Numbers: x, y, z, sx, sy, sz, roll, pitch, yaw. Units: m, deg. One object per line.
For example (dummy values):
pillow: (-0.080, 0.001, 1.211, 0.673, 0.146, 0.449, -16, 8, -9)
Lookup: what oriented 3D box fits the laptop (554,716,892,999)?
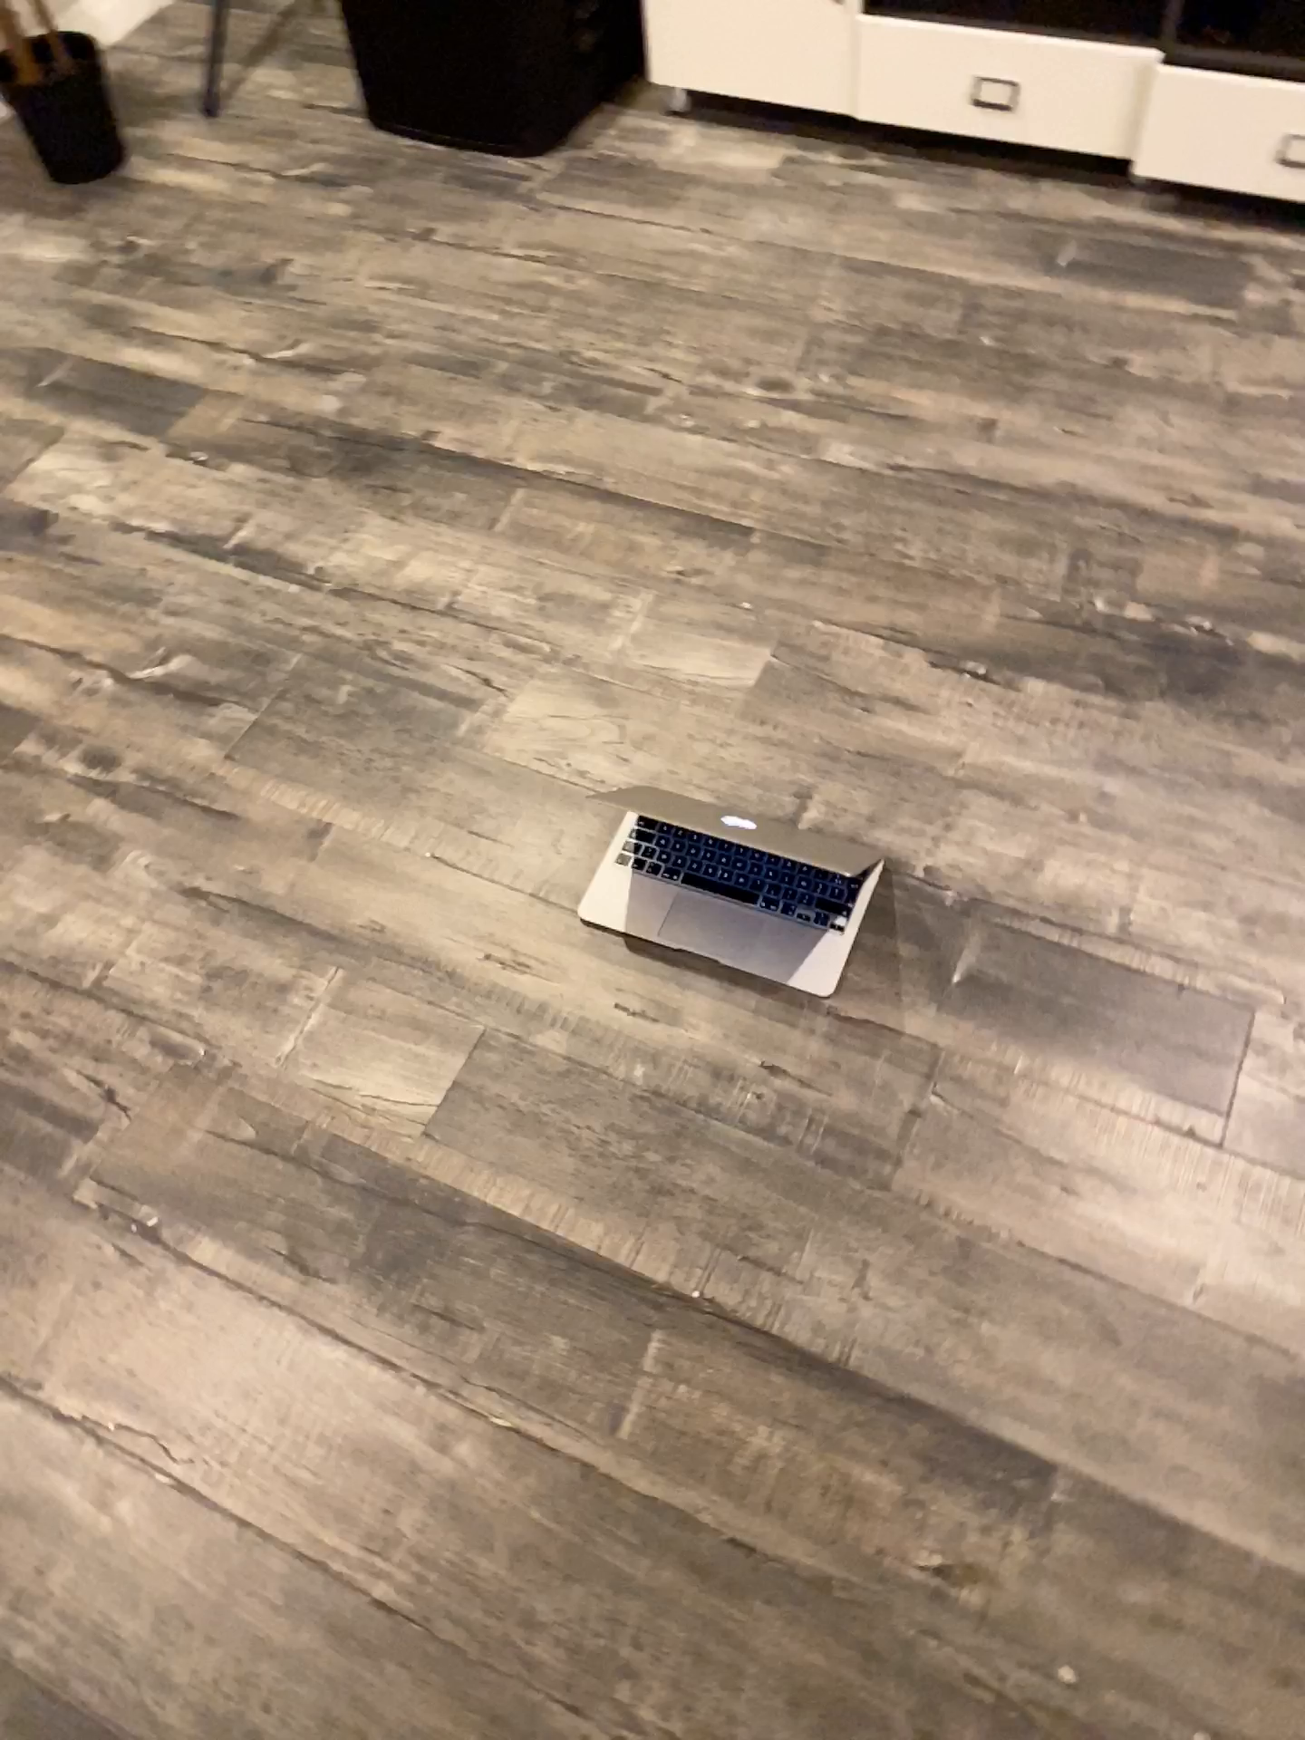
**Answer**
laptop: (0.077, -0.018, 1.392, 0.292, 0.132, 0.193, 15, 56, 17)
